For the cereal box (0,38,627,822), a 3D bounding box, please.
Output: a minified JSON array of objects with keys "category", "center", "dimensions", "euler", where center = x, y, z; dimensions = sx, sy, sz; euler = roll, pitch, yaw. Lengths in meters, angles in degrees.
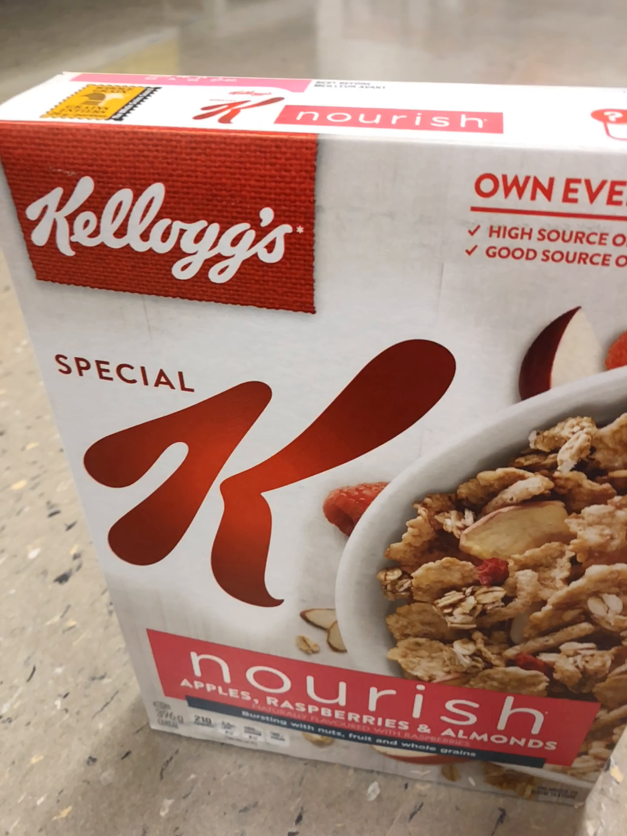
[{"category":"cereal box","center":[0.018,0.037,0.244],"dimensions":[0.210,0.289,0.050],"euler":[6,41,9]}]
